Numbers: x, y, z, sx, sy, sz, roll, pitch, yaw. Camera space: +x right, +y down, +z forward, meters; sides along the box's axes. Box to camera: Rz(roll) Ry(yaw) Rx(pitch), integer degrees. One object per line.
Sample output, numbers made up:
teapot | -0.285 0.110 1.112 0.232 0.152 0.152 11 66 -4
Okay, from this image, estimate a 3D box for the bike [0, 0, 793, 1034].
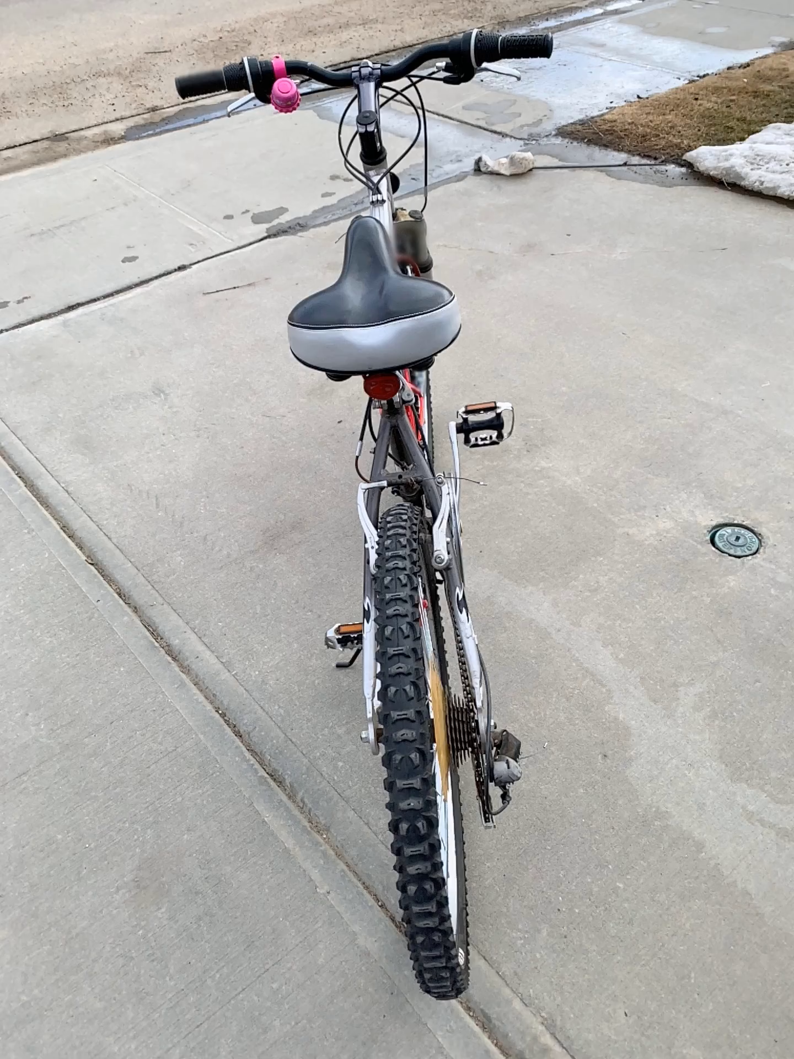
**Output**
bike | -0.037 -0.225 1.229 0.538 0.825 1.508 -3 48 0
